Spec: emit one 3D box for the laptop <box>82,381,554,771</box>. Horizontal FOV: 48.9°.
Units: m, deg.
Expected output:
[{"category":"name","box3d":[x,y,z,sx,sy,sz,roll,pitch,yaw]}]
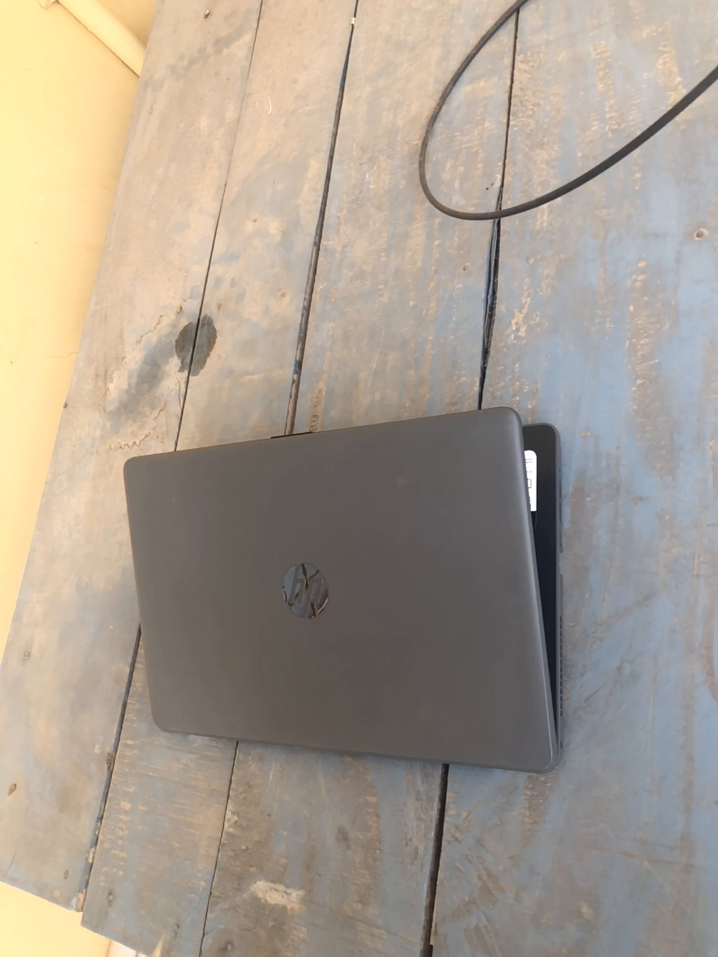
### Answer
[{"category":"laptop","box3d":[-0.039,0.079,0.622,0.361,0.096,0.243,-5,71,32]}]
